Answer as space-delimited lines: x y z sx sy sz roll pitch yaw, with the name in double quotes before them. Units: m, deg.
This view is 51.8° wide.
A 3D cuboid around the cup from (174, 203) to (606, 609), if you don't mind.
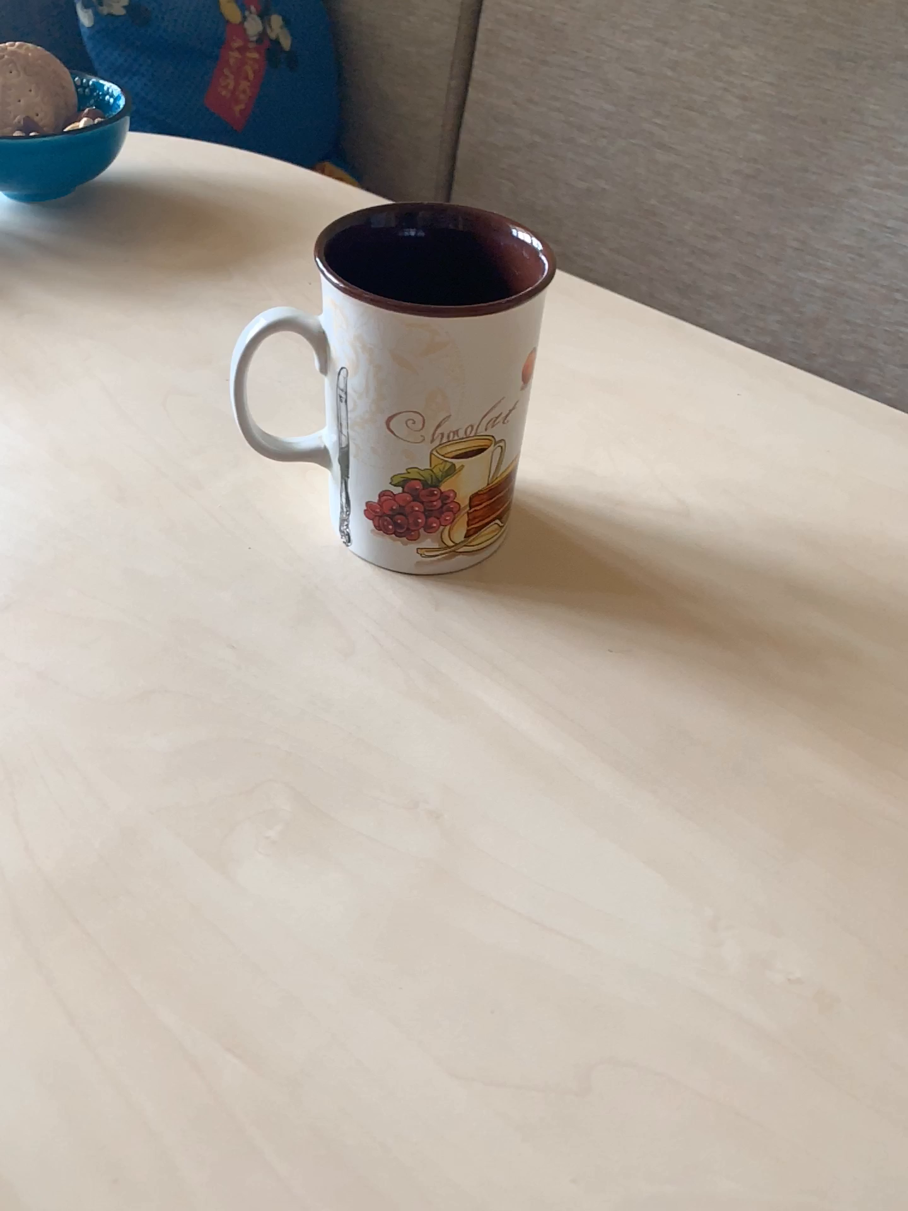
"cup" -0.029 -0.076 0.349 0.130 0.110 0.090 -6 45 -12
